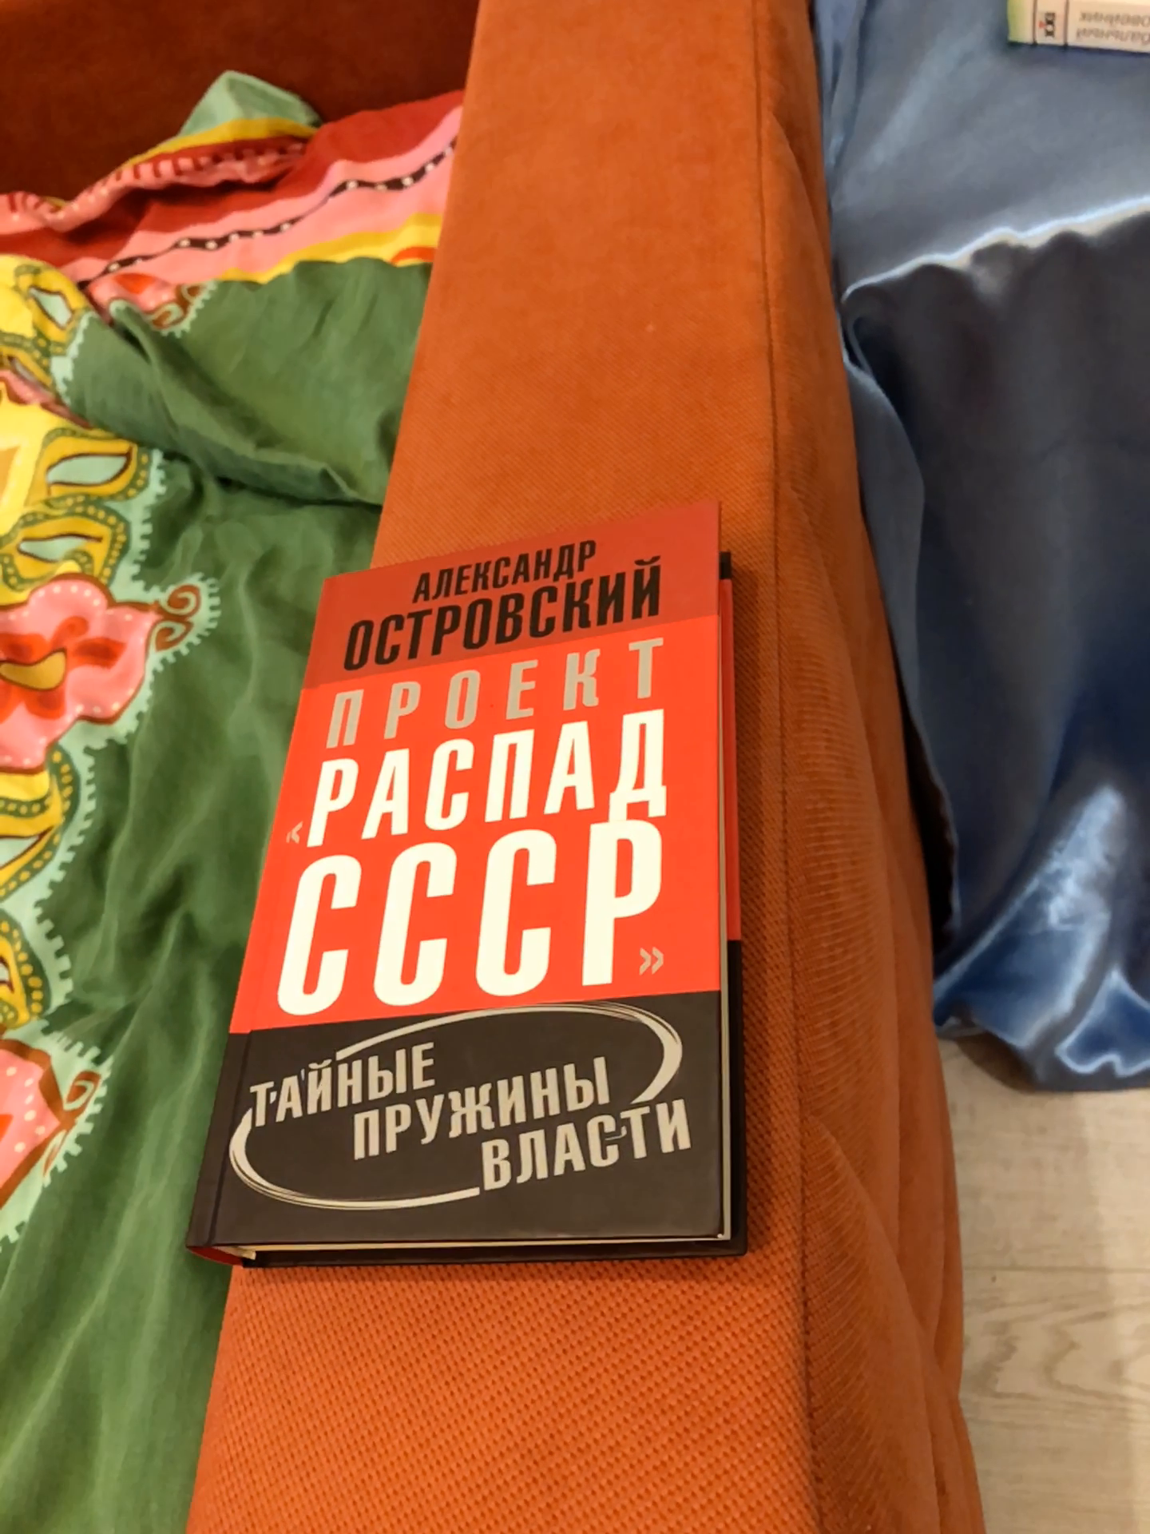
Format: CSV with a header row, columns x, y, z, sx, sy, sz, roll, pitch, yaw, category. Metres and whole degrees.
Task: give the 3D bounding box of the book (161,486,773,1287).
x,y,z,sx,sy,sz,roll,pitch,yaw,category
-0.020,0.024,0.337,0.135,0.030,0.207,-8,56,18,book
